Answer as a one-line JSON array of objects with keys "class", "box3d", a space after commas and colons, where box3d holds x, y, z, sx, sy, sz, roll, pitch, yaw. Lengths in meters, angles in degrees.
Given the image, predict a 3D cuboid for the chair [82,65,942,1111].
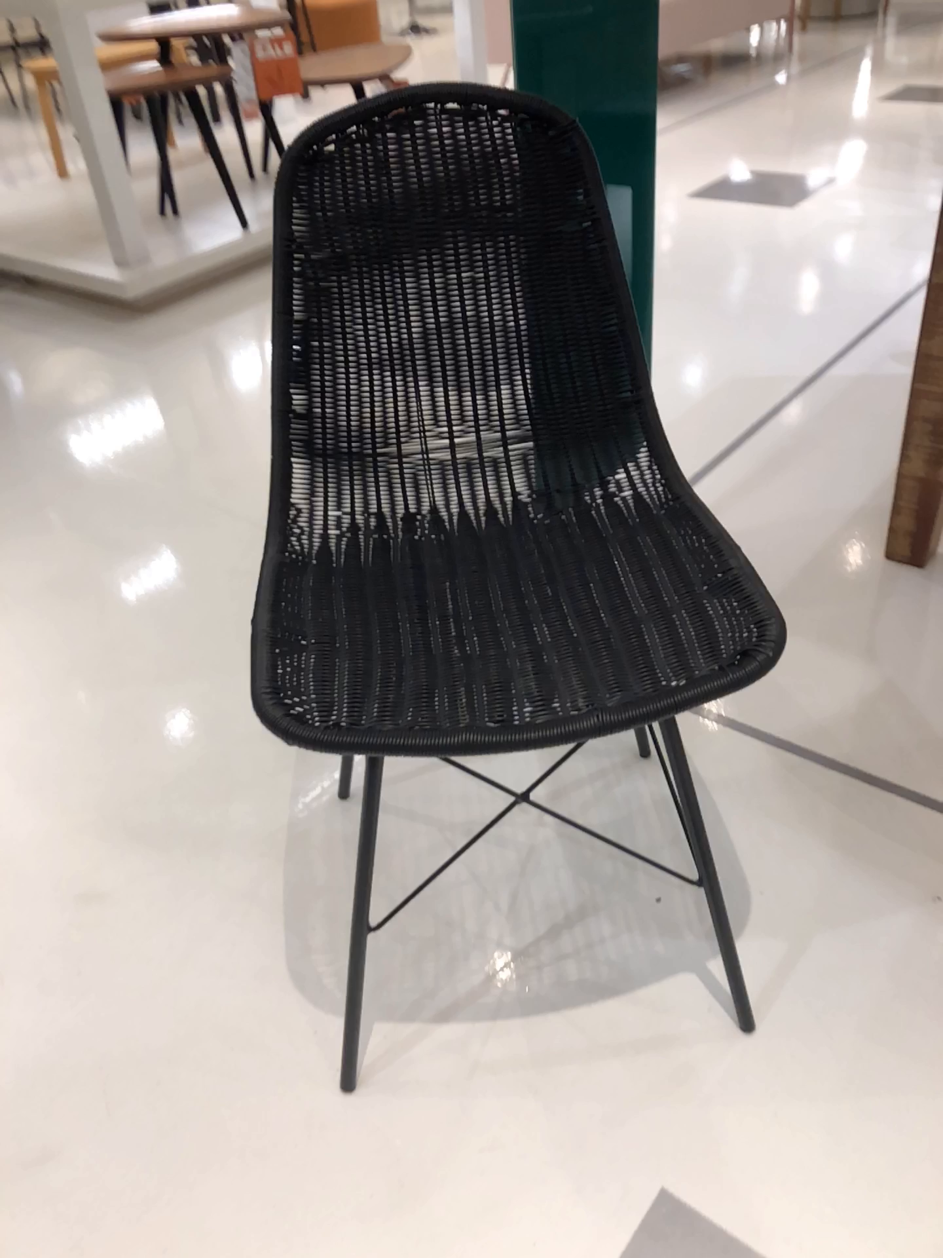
[{"class": "chair", "box3d": [0.027, -0.046, 1.018, 0.480, 0.794, 0.554, -8, 35, -3]}]
